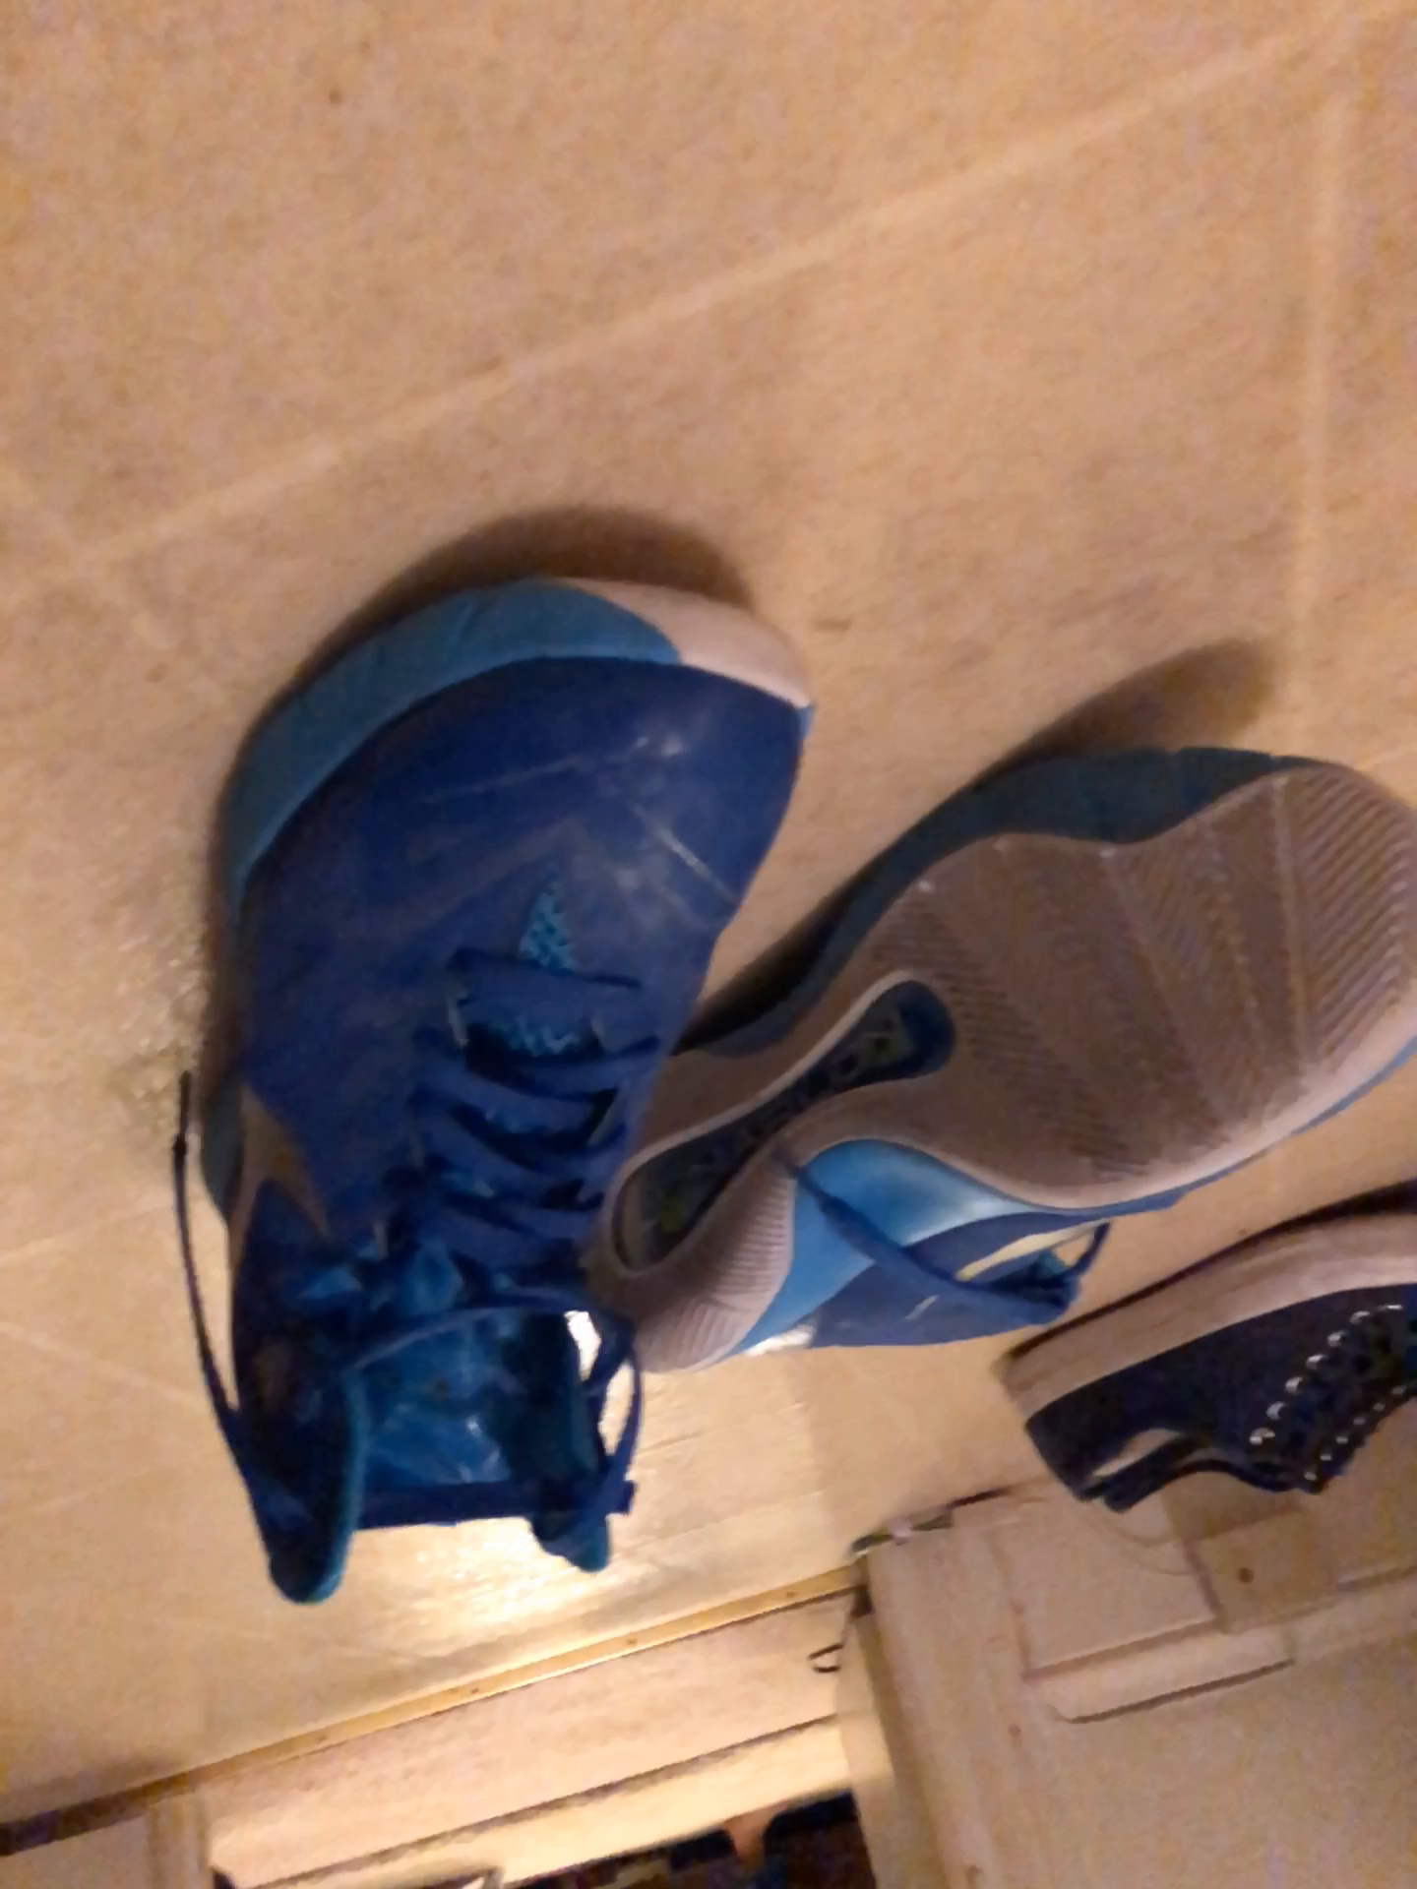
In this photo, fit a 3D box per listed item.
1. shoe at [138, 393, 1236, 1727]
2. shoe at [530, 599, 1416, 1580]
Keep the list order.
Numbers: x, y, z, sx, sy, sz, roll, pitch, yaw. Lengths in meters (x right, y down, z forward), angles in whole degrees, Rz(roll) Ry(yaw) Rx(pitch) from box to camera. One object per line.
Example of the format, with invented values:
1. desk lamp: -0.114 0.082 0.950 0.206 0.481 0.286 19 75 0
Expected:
1. shoe: -0.049 0.059 0.357 0.120 0.144 0.311 1 145 -26
2. shoe: 0.101 0.061 0.435 0.159 0.120 0.282 5 144 -39
